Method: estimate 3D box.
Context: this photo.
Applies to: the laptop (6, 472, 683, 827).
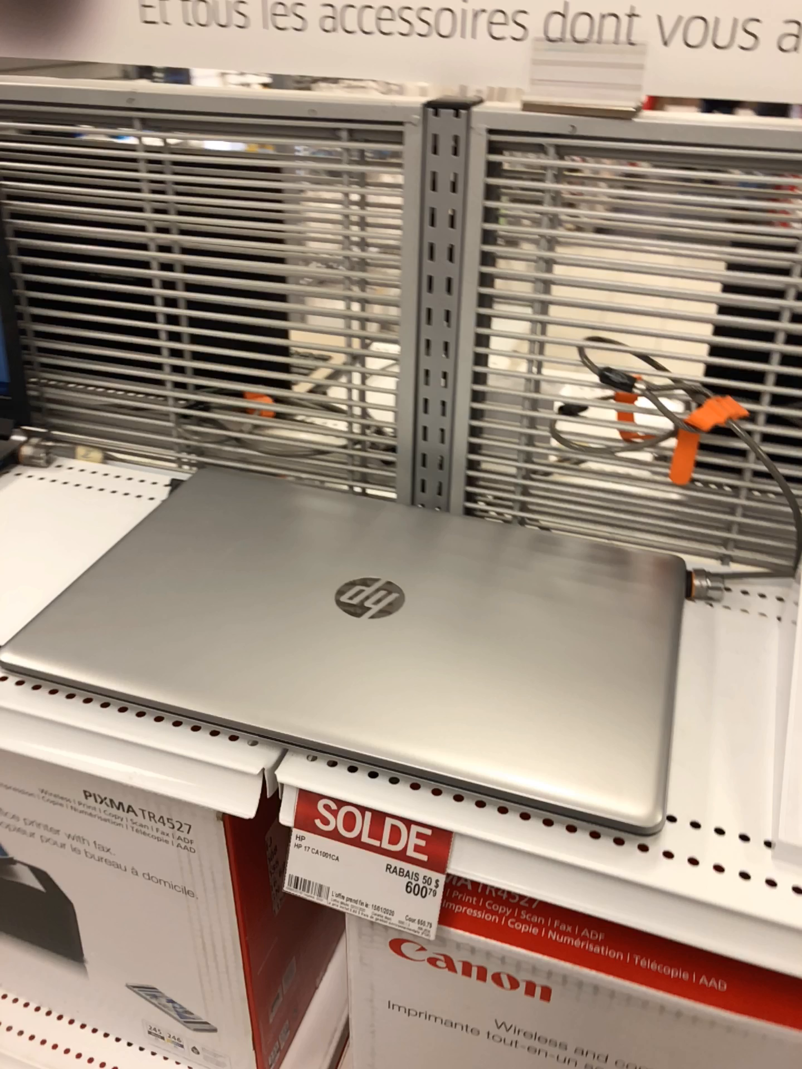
[{"bbox_3d":[-0.019,0.049,0.638,0.416,0.002,0.278,11,32,15],"label":"laptop"}]
